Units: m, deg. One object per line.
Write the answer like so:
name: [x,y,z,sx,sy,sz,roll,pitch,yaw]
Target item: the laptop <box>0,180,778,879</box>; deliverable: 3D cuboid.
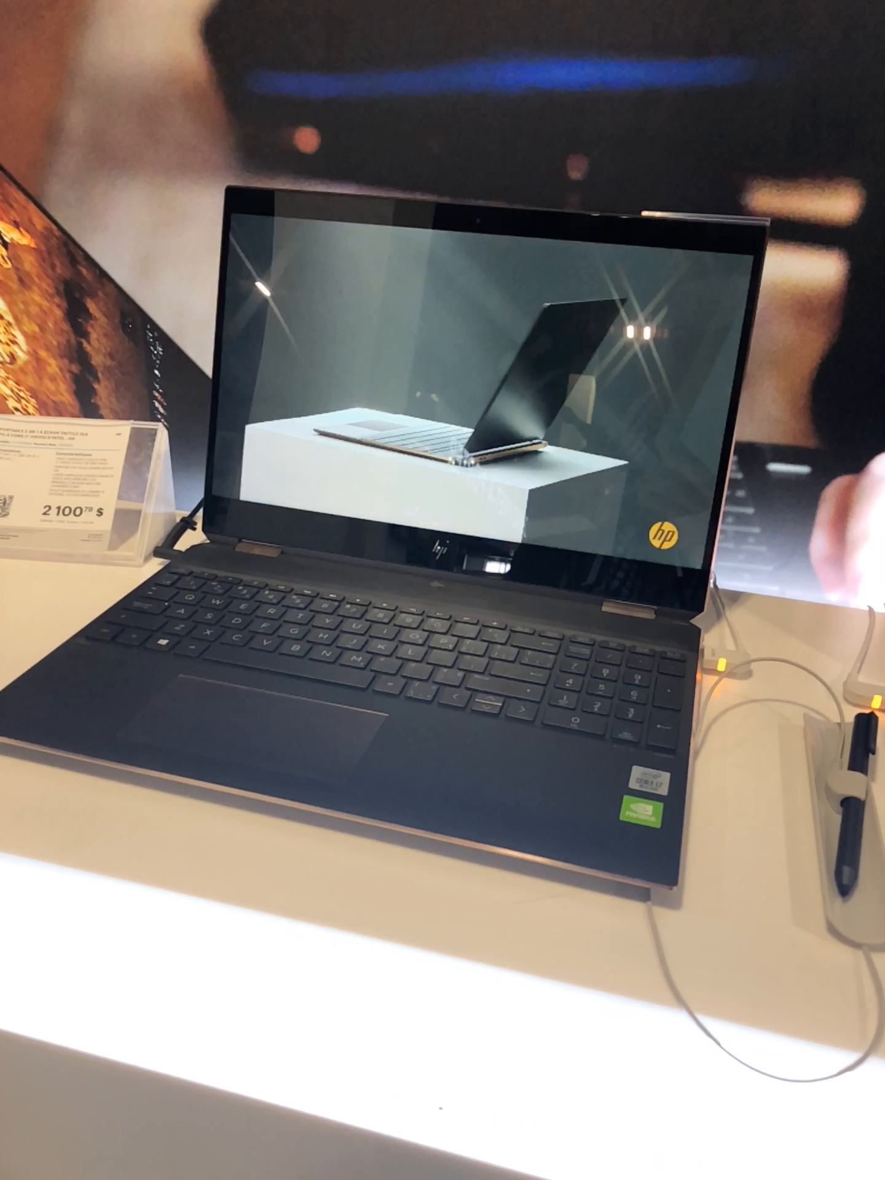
laptop: [-0.023,-0.077,0.521,0.333,0.226,0.323,10,26,11]
